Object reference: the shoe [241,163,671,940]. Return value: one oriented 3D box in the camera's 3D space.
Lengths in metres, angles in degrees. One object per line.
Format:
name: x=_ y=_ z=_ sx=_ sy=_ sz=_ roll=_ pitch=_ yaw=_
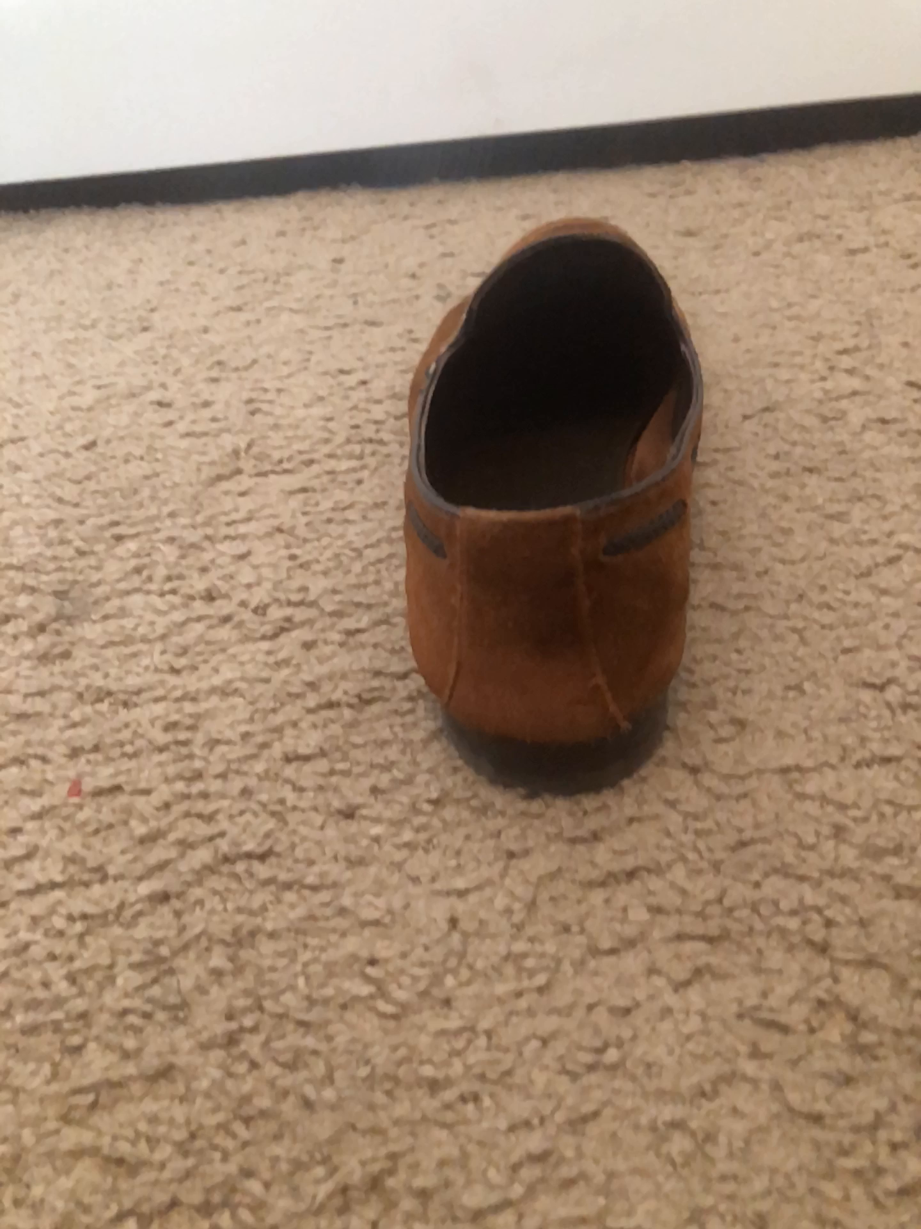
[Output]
shoe: x=0.017 y=-0.048 z=0.352 sx=0.090 sy=0.100 sz=0.294 roll=-2 pitch=42 yaw=9
